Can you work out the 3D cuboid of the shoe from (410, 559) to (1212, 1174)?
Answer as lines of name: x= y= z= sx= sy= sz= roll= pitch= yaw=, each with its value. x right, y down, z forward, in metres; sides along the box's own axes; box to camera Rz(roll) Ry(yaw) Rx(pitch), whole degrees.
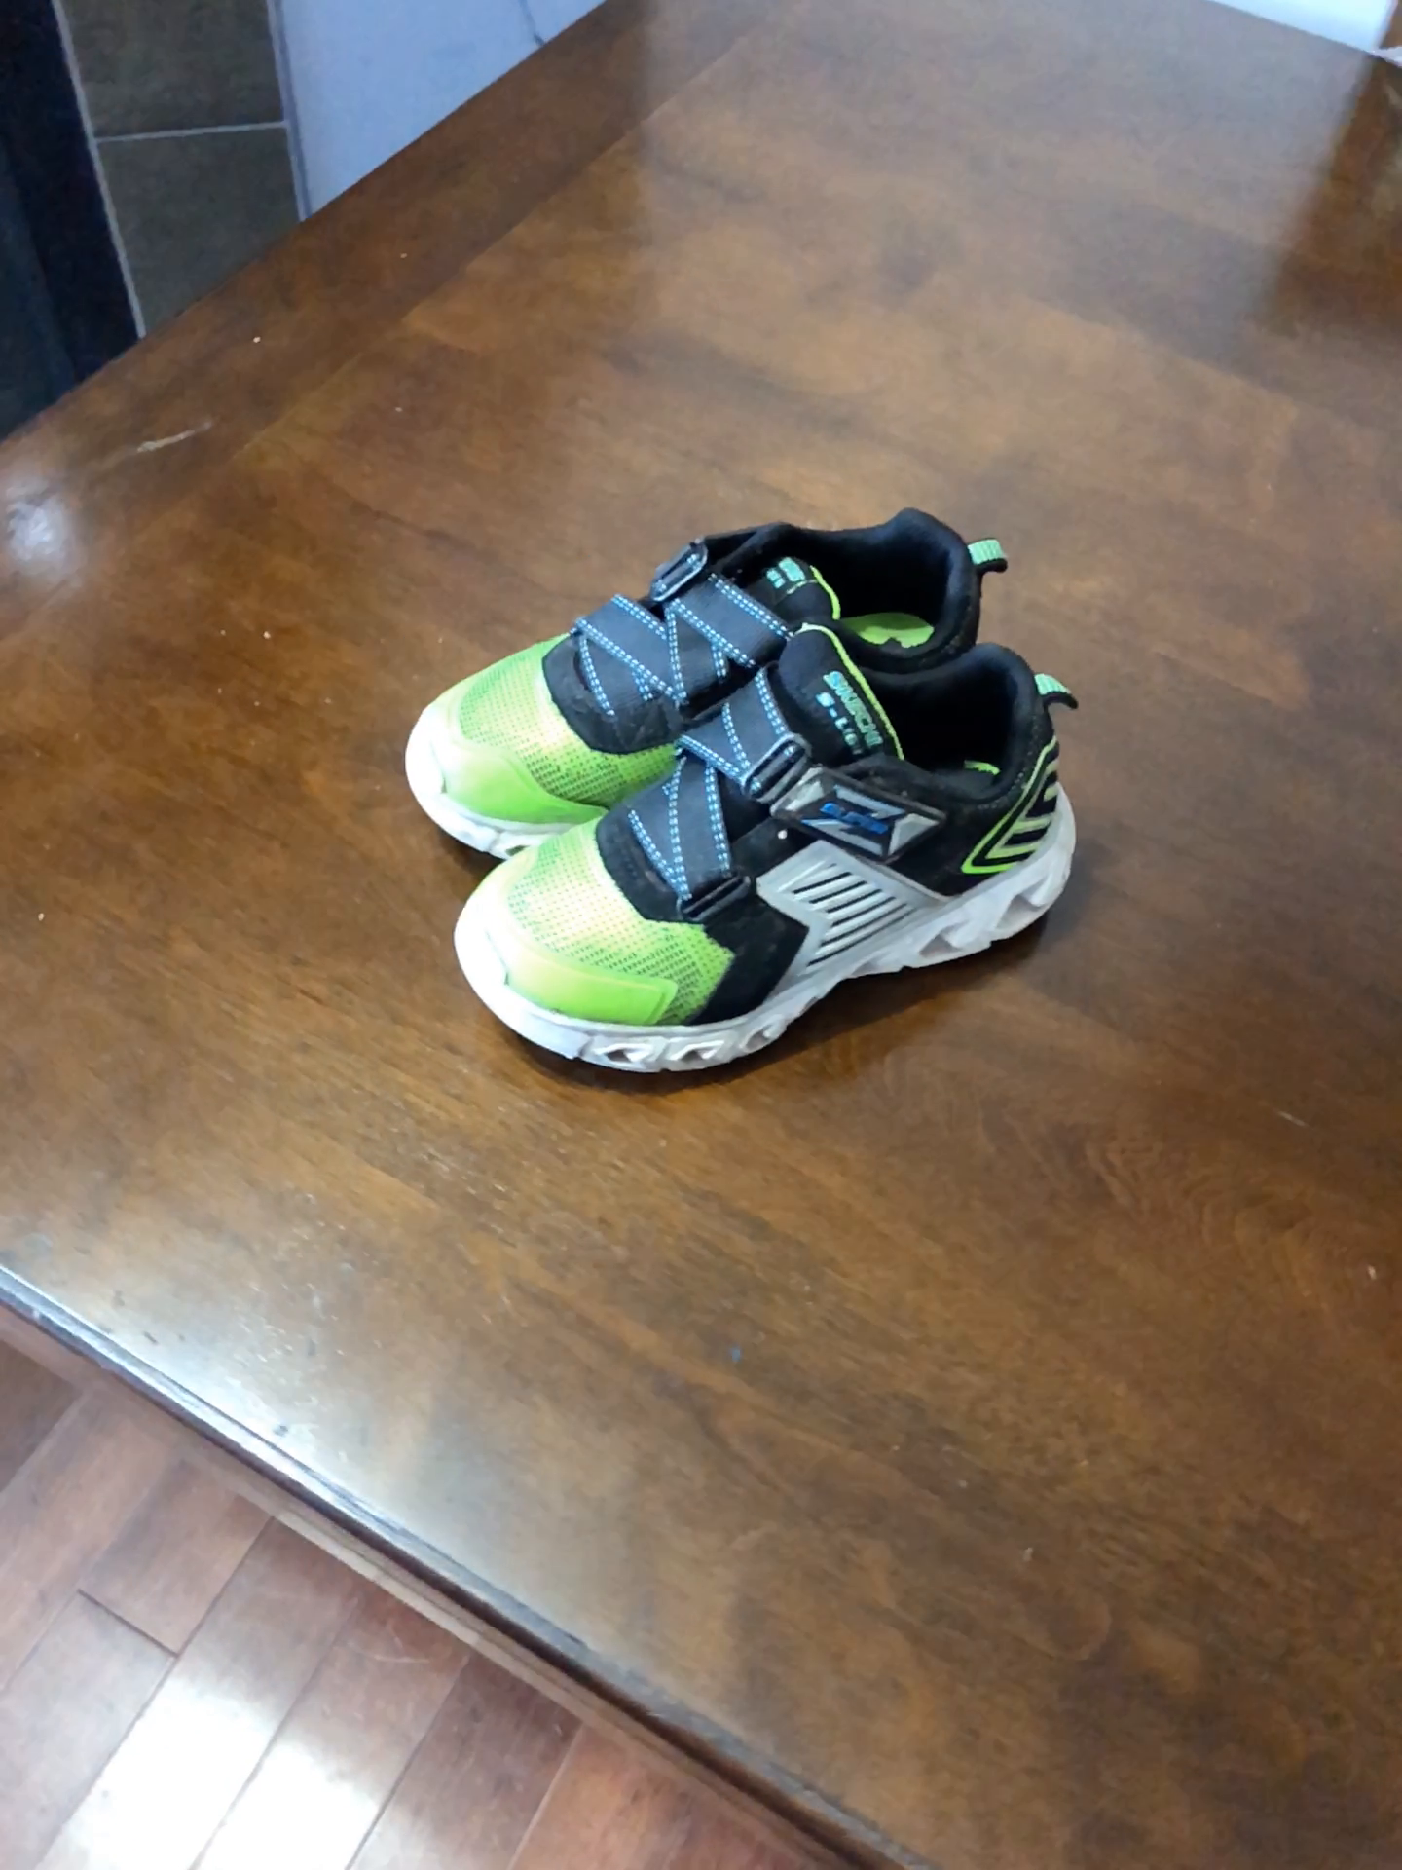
shoe: x=0.029 y=-0.024 z=0.488 sx=0.210 sy=0.100 sz=0.100 roll=-18 pitch=59 yaw=-16

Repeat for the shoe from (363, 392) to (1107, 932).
shoe: x=0.007 y=-0.094 z=0.522 sx=0.210 sy=0.100 sz=0.100 roll=-14 pitch=58 yaw=-14
